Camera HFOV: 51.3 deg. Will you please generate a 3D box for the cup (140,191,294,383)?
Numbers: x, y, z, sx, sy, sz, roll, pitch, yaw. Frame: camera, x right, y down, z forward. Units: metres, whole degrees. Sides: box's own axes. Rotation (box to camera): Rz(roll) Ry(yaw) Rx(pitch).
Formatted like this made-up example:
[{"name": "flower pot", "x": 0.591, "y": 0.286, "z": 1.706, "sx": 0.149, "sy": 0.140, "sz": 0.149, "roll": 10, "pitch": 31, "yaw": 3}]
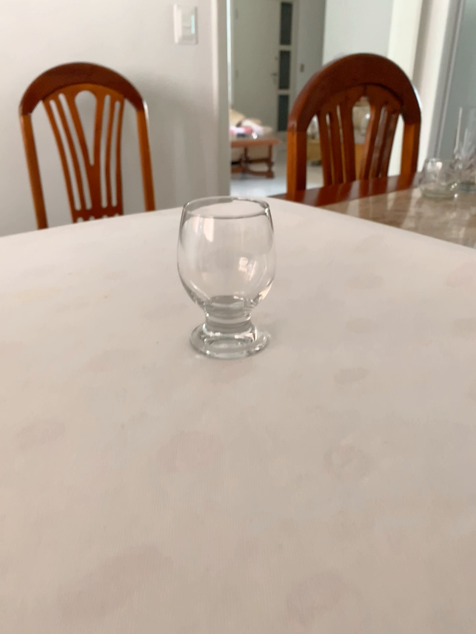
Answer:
[{"name": "cup", "x": -0.017, "y": -0.028, "z": 0.379, "sx": 0.080, "sy": 0.112, "sz": 0.080, "roll": 0, "pitch": 25, "yaw": 0}]
